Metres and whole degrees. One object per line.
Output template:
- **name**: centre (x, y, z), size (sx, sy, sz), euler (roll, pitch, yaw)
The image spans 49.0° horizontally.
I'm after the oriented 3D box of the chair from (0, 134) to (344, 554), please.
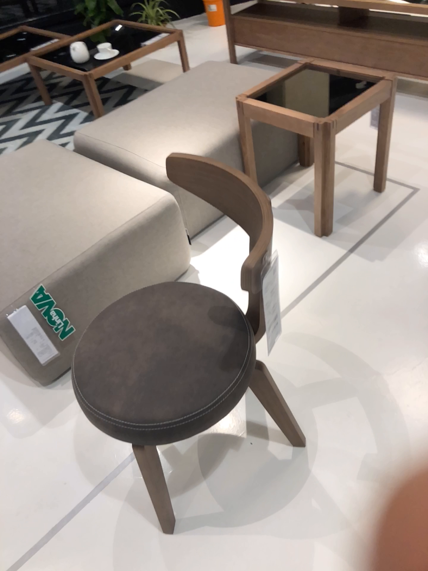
- **chair**: centre (-0.072, 0.148, 1.103), size (0.520, 0.705, 0.503), euler (-21, 44, -9)
